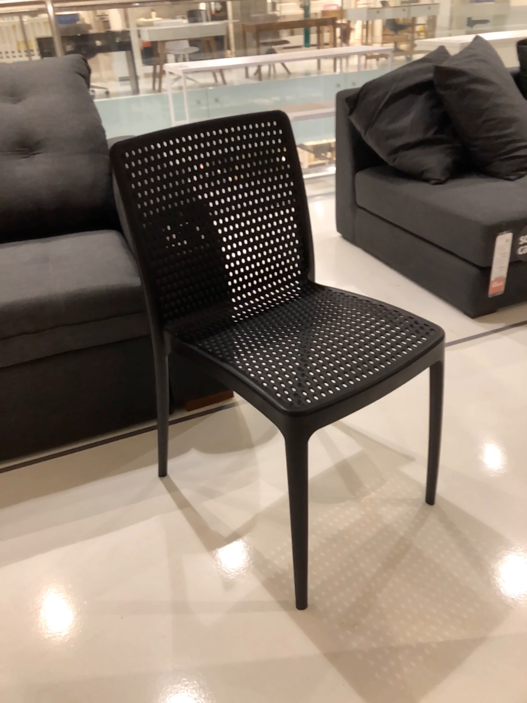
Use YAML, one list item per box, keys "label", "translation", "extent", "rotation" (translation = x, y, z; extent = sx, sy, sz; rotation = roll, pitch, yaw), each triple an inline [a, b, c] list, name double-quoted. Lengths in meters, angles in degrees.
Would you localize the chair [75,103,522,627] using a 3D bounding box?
- label: "chair"
  translation: [0.065, -0.035, 1.196]
  extent: [0.532, 0.784, 0.563]
  rotation: [-25, 36, -32]
